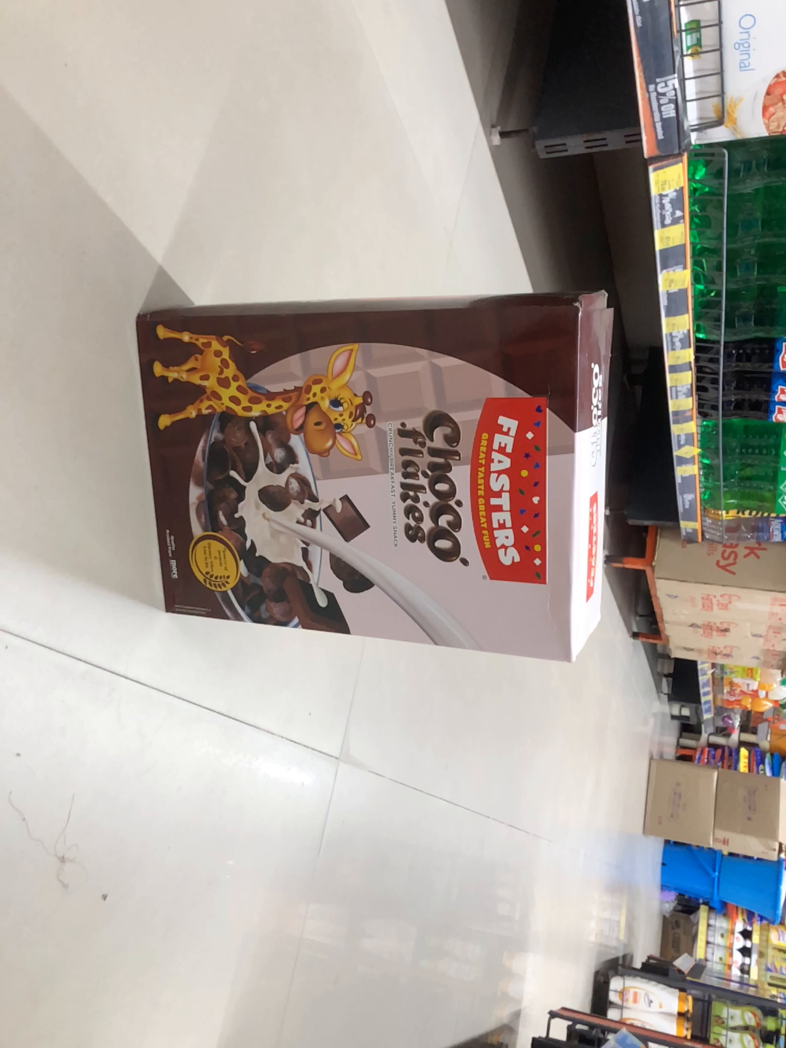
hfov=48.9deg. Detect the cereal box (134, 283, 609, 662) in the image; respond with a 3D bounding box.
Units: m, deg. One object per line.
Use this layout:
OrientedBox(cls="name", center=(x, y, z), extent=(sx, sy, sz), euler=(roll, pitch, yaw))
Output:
OrientedBox(cls="cereal box", center=(-0.013, -0.034, 0.500), extent=(0.060, 0.258, 0.190), euler=(-34, 124, -64))
